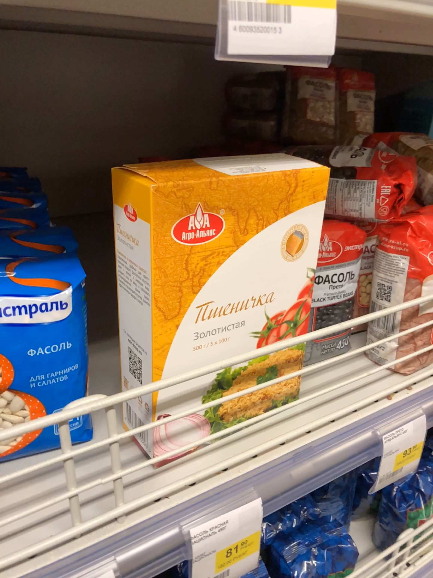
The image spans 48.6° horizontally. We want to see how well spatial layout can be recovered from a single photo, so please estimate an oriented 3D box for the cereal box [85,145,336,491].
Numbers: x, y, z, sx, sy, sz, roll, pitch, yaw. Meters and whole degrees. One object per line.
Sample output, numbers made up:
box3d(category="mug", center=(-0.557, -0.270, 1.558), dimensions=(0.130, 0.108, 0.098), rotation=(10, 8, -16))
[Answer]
box3d(category="cereal box", center=(-0.003, 0.013, 0.326), dimensions=(0.140, 0.199, 0.060), rotation=(-15, 29, -32))
